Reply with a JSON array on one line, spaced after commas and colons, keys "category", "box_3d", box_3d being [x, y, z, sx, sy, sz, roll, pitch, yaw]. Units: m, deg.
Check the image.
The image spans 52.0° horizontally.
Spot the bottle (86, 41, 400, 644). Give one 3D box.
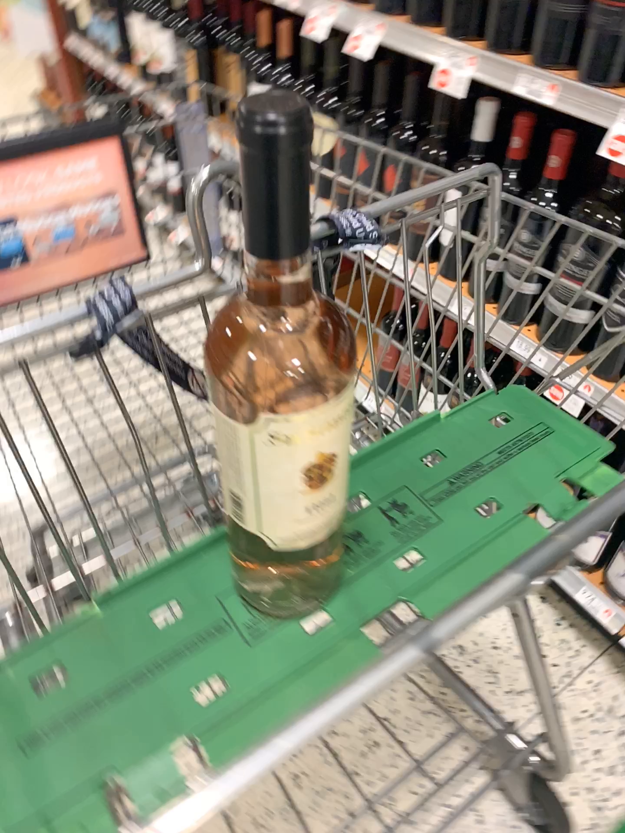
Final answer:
[{"category": "bottle", "box_3d": [-0.027, -0.008, 0.345, 0.084, 0.315, 0.087, 0, 44, 0]}]
